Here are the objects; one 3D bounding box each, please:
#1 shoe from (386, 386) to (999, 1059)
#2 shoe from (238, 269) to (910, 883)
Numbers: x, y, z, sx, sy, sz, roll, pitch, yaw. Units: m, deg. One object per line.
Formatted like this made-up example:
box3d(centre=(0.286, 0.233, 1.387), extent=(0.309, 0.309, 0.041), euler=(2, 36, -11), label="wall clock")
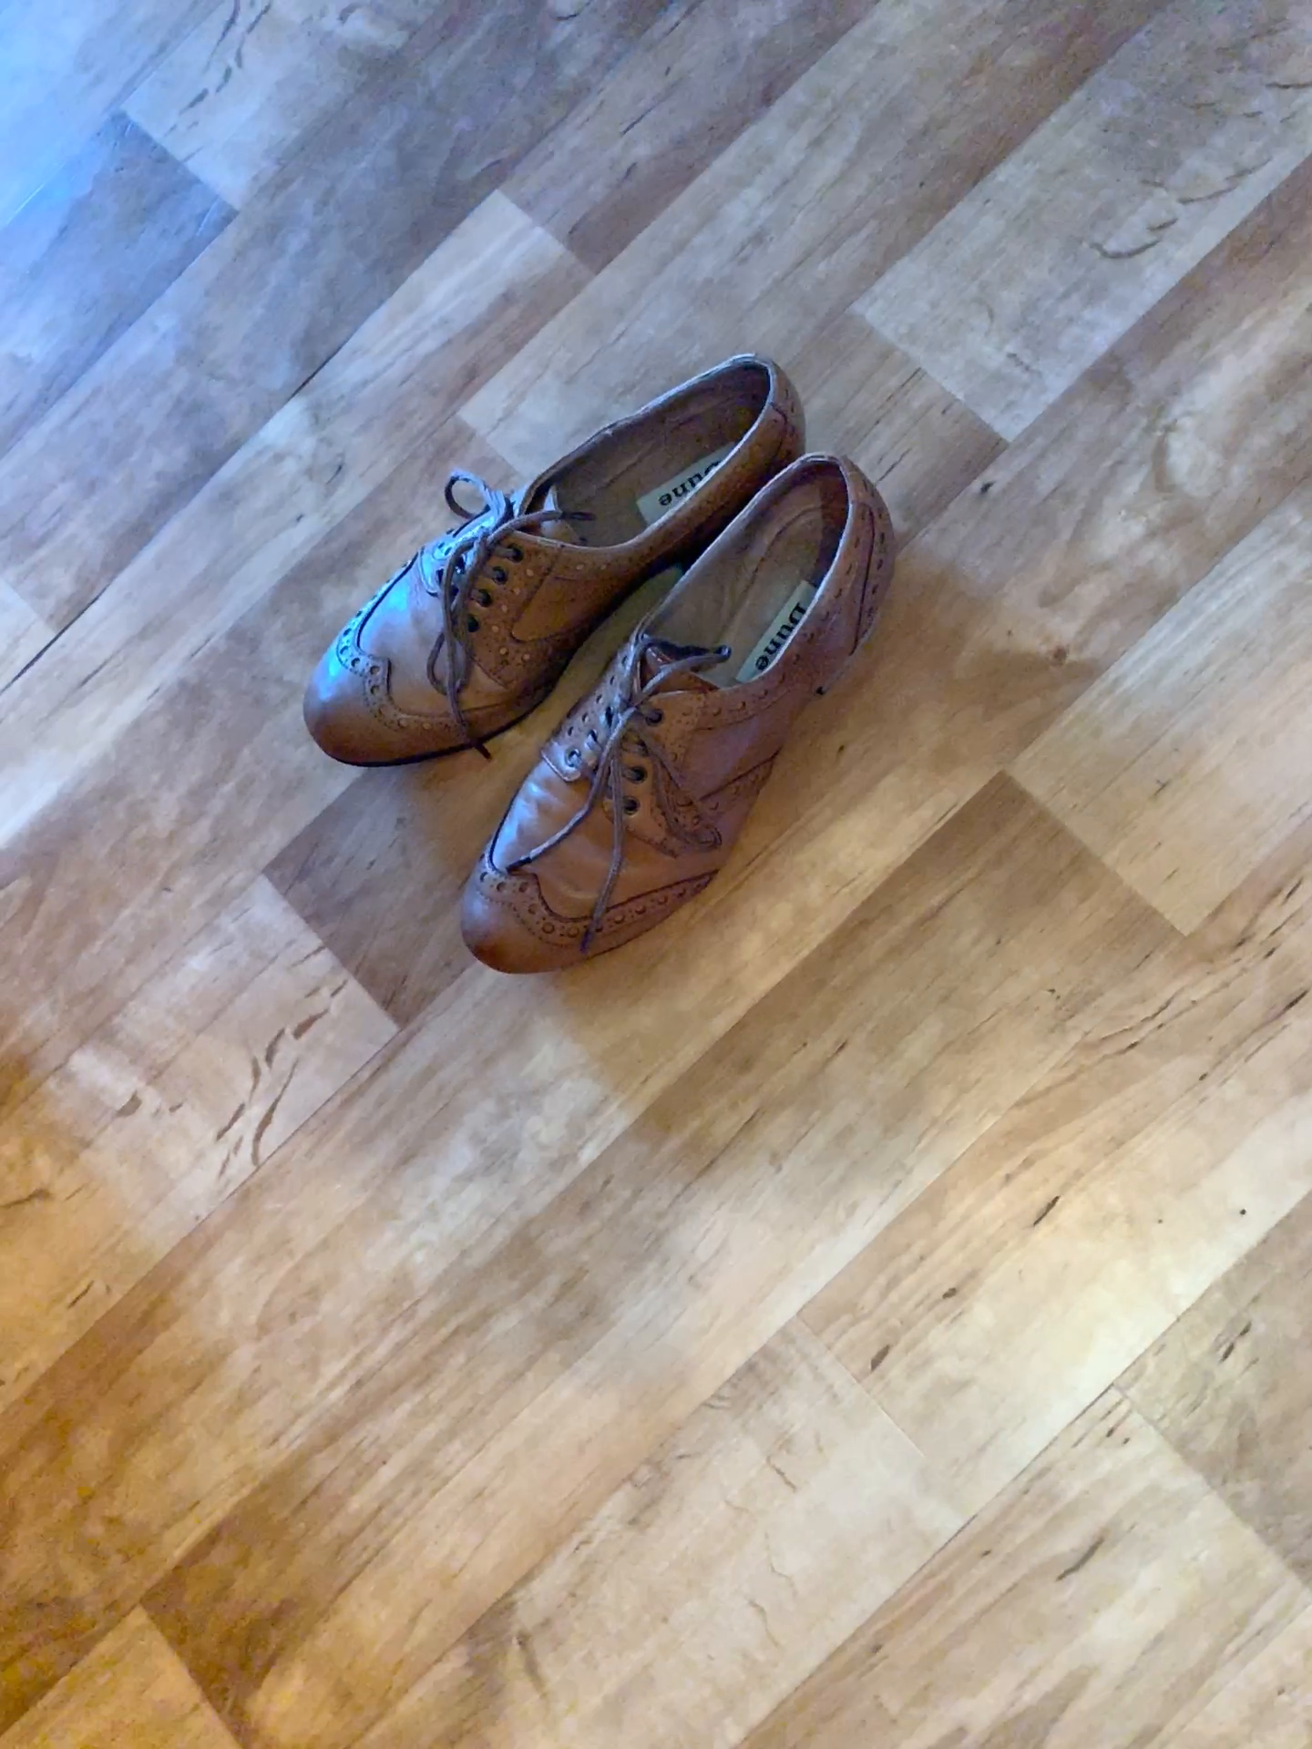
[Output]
box3d(centre=(0.021, -0.047, 0.513), extent=(0.080, 0.120, 0.230), euler=(40, 89, 14), label="shoe")
box3d(centre=(-0.024, -0.110, 0.548), extent=(0.240, 0.120, 0.090), euler=(-33, 76, 3), label="shoe")
